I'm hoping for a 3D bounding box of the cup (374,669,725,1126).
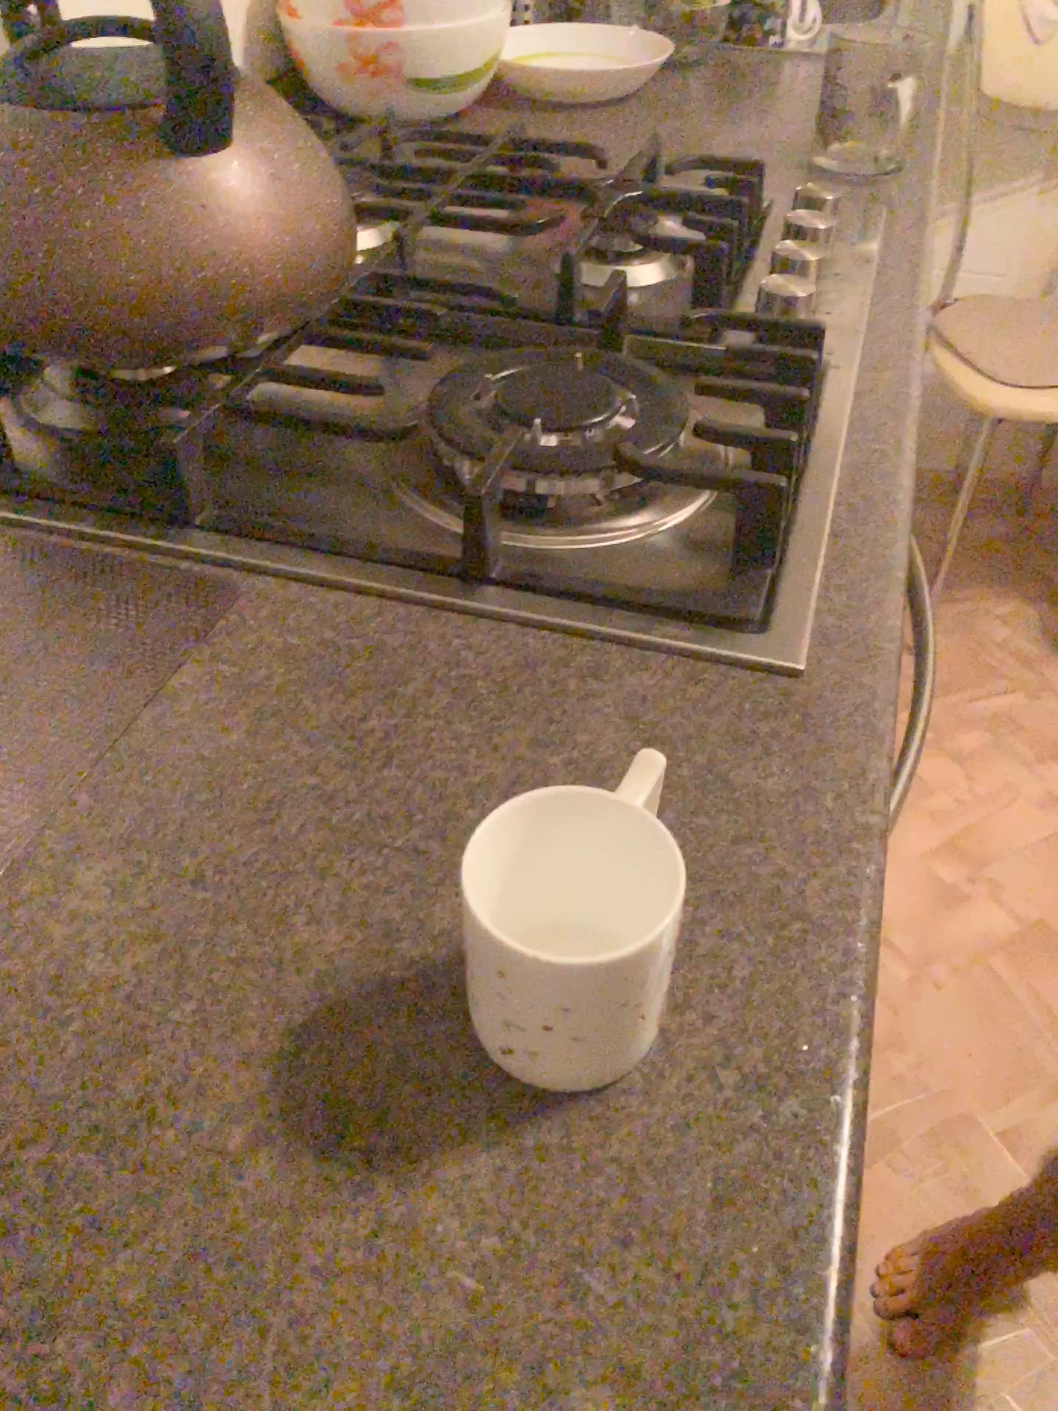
[{"bbox_3d":[0.009,0.048,0.292,0.064,0.061,0.090,13,43,13],"label":"cup"}]

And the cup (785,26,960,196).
[{"bbox_3d":[0.236,-0.417,0.757,0.064,0.081,0.100,-9,42,-10],"label":"cup"}]
